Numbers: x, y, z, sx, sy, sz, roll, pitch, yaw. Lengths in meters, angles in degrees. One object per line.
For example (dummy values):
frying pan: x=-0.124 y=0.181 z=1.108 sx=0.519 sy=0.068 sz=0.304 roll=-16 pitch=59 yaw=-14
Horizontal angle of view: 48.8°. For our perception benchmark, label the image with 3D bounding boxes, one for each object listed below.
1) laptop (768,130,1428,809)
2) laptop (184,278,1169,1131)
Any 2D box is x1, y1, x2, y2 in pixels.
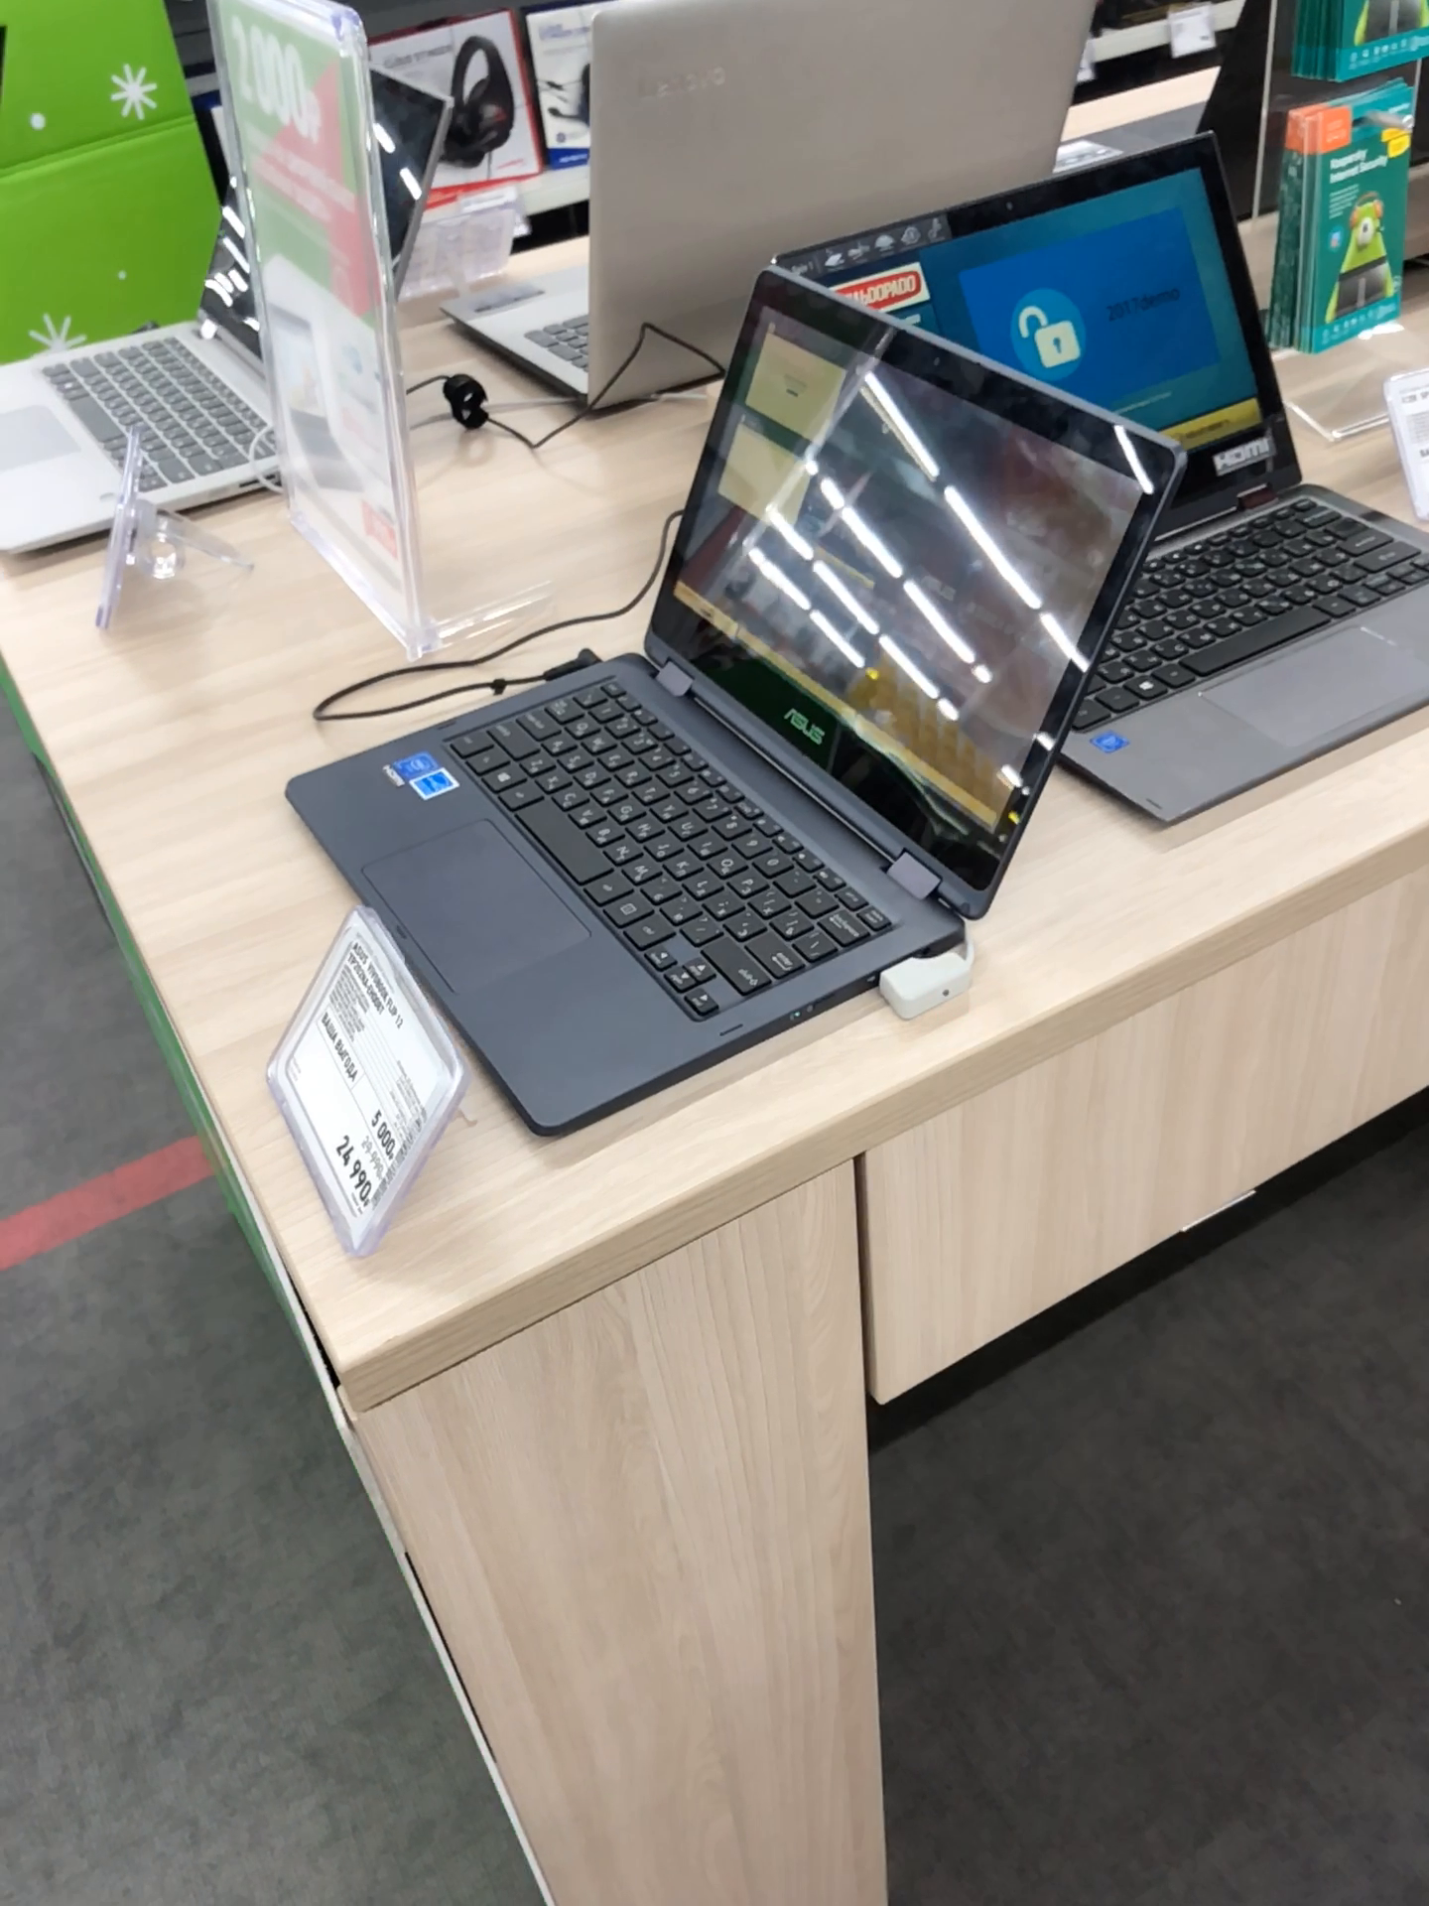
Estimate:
laptop: x=0.223 y=-0.254 z=0.767 sx=0.261 sy=0.162 sz=0.300 roll=-24 pitch=45 yaw=-19
laptop: x=-0.020 y=-0.126 z=0.655 sx=0.280 sy=0.166 sz=0.270 roll=-25 pitch=45 yaw=-20
